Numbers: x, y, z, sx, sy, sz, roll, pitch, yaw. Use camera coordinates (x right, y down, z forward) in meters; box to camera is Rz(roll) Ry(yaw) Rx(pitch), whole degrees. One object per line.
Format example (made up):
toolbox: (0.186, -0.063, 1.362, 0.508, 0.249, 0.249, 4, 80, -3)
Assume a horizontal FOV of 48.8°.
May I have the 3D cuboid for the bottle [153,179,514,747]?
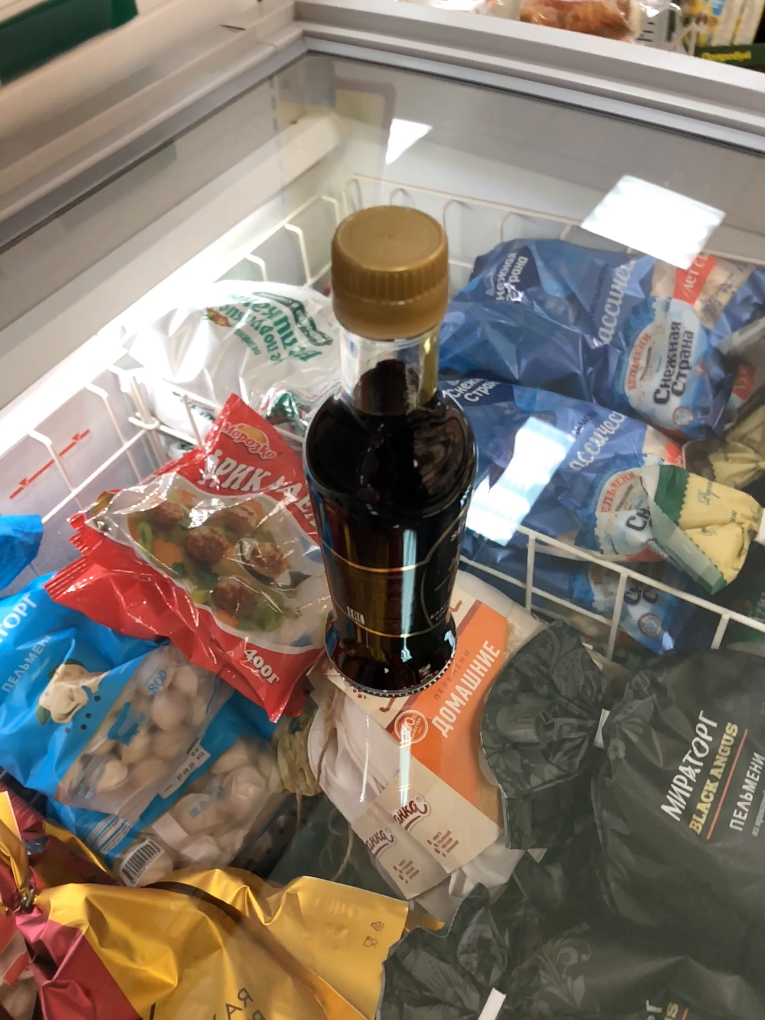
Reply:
bottle: (-0.003, -0.004, 0.283, 0.070, 0.179, 0.070, -3, 47, 3)
